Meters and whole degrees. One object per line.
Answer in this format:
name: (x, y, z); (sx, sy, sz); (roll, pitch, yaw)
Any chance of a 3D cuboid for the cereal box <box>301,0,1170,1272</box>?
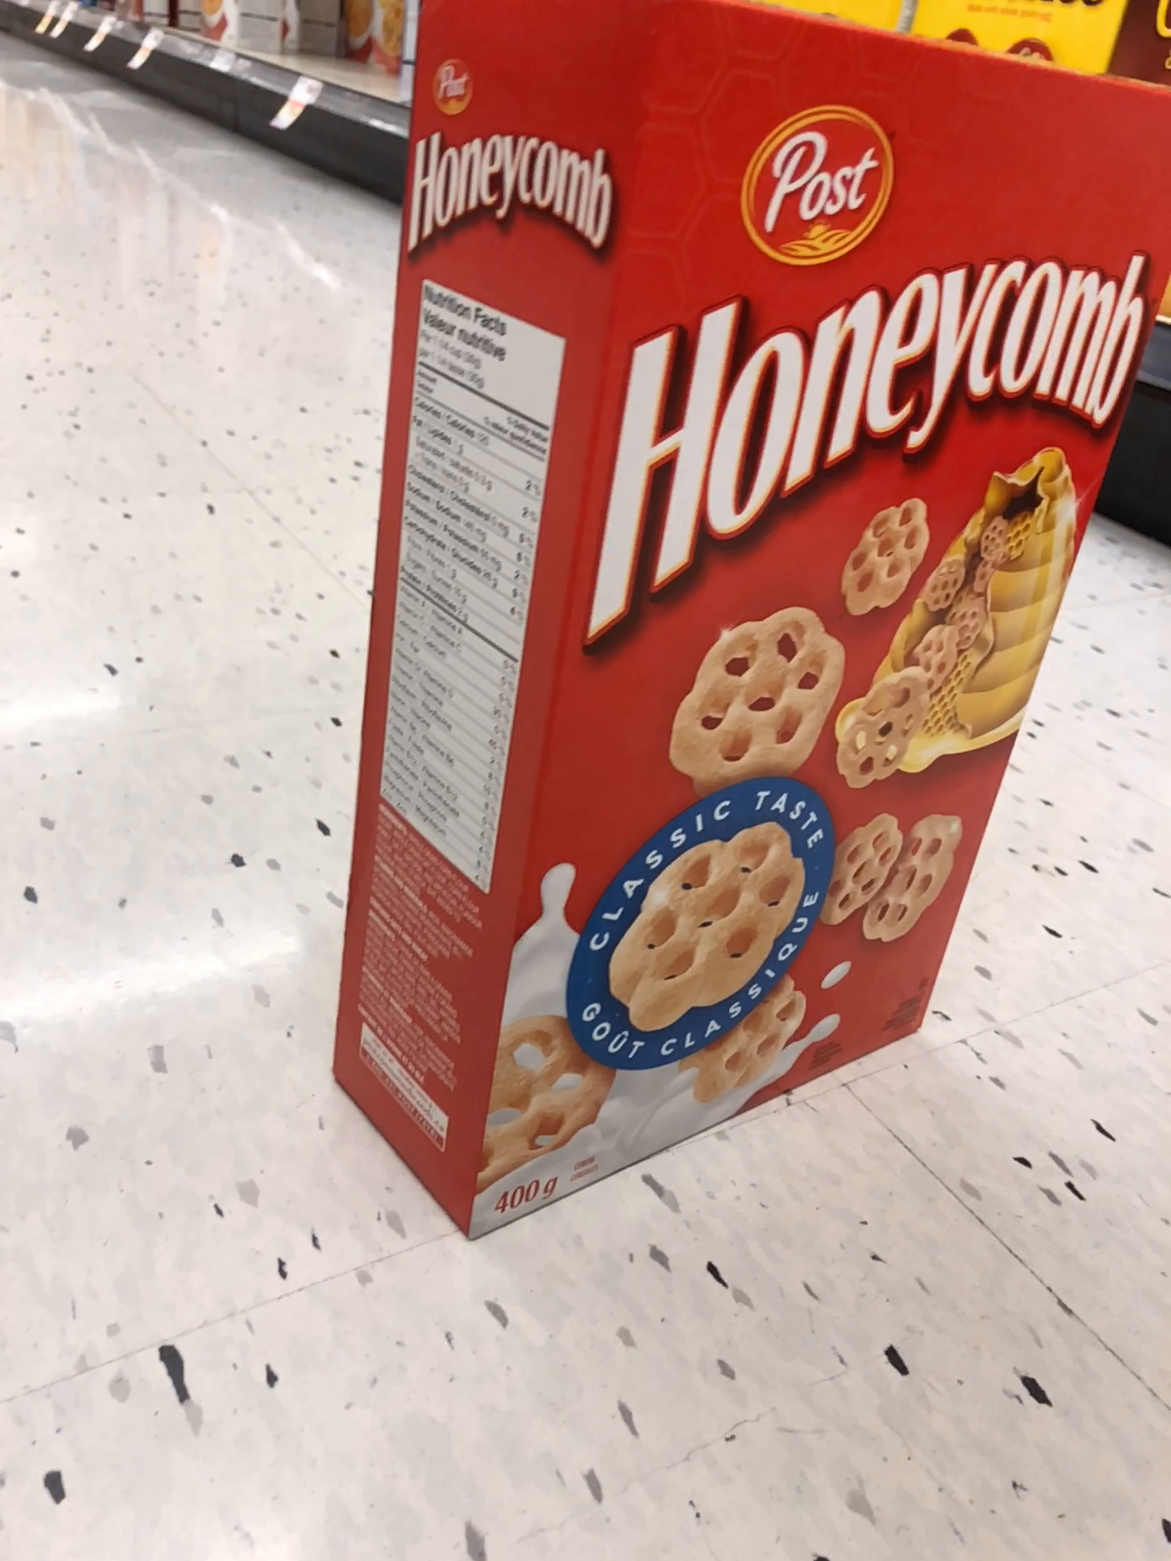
cereal box: (0.045, -0.042, 0.358); (0.211, 0.298, 0.090); (-14, 37, -36)
